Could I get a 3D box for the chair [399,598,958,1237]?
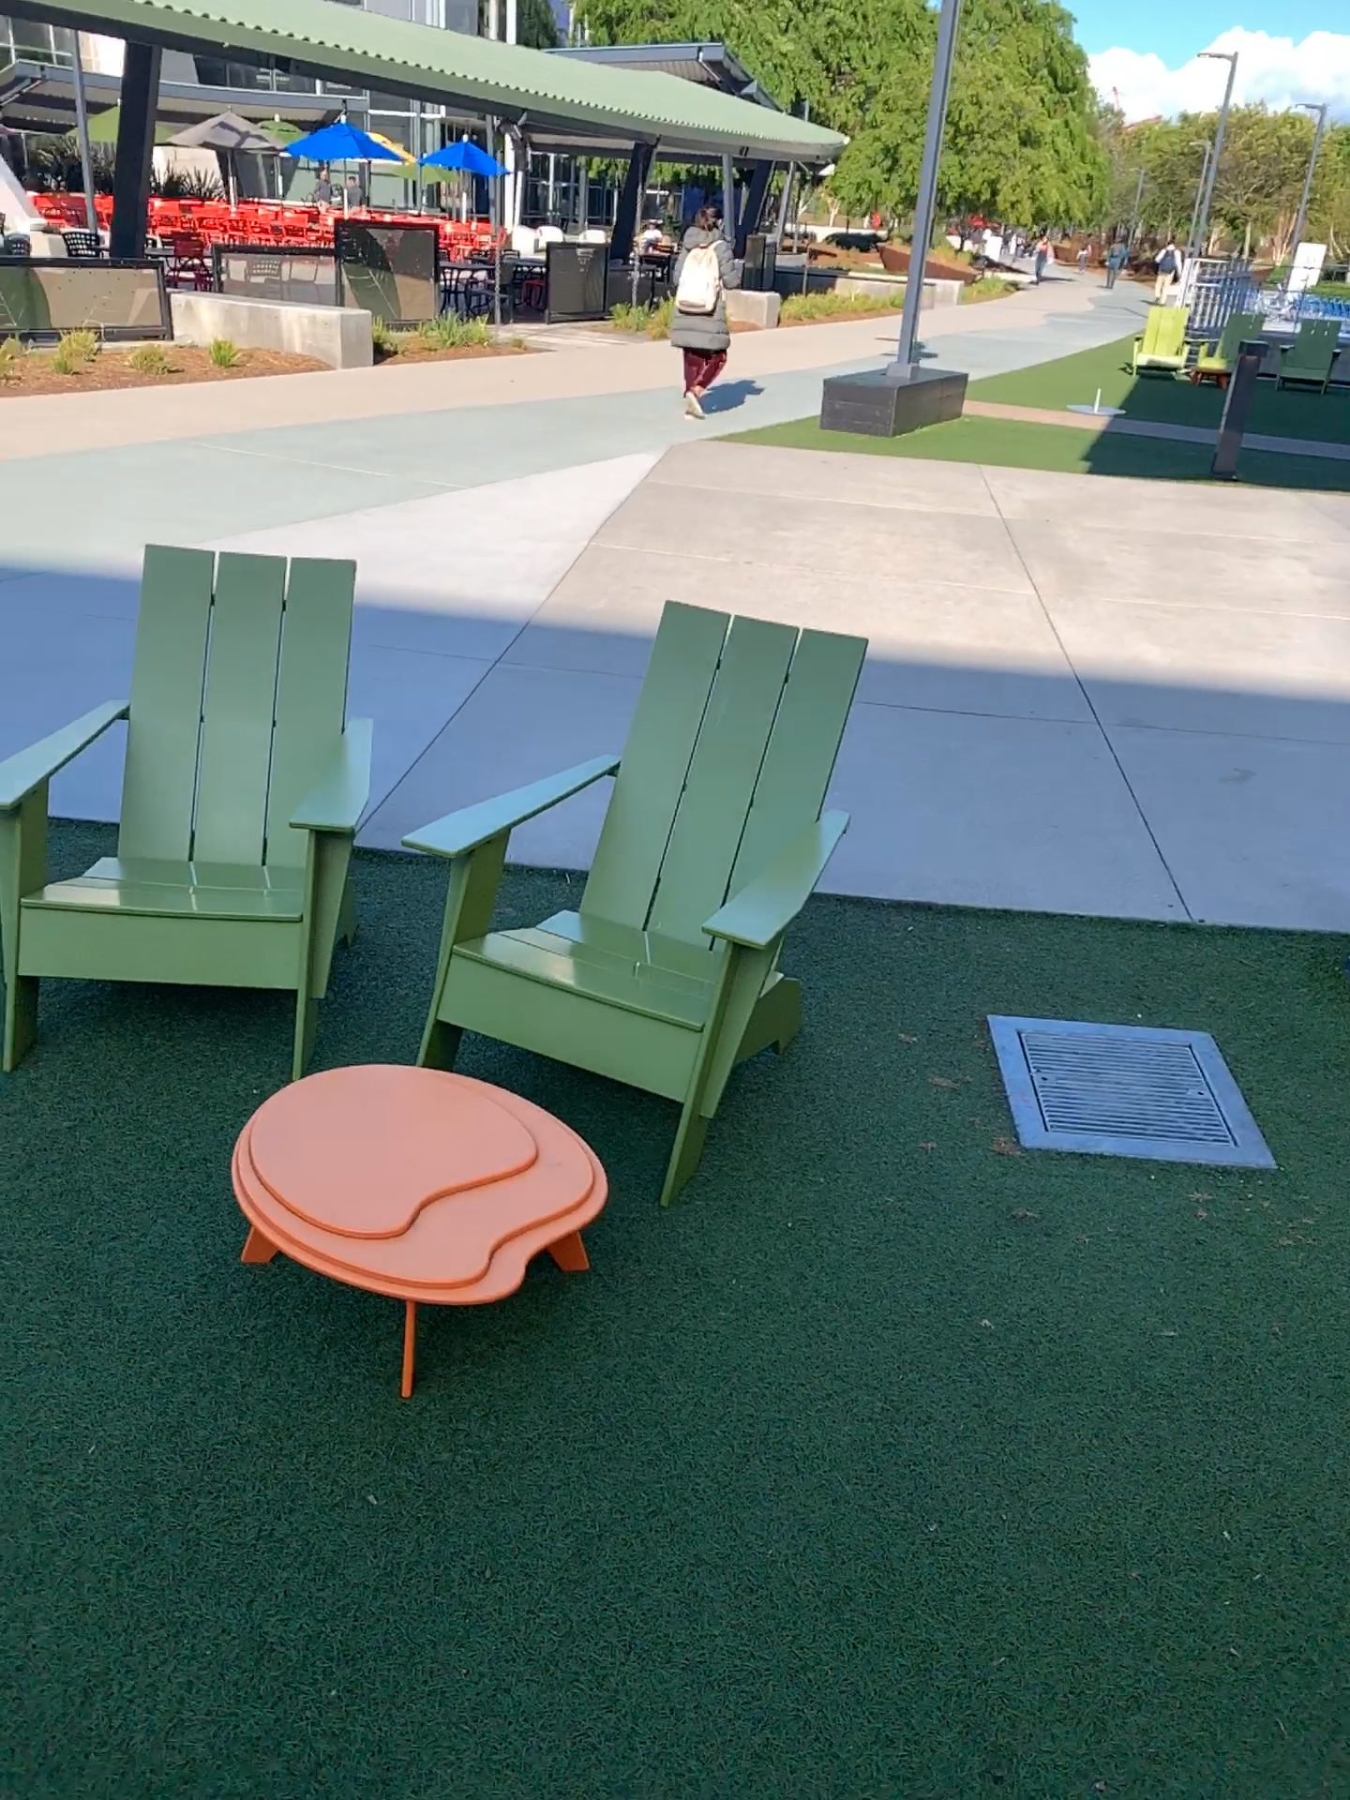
[{"bbox_3d":[0.014,-0.035,2.748,0.712,0.855,0.853,18,29,25],"label":"chair"}]
